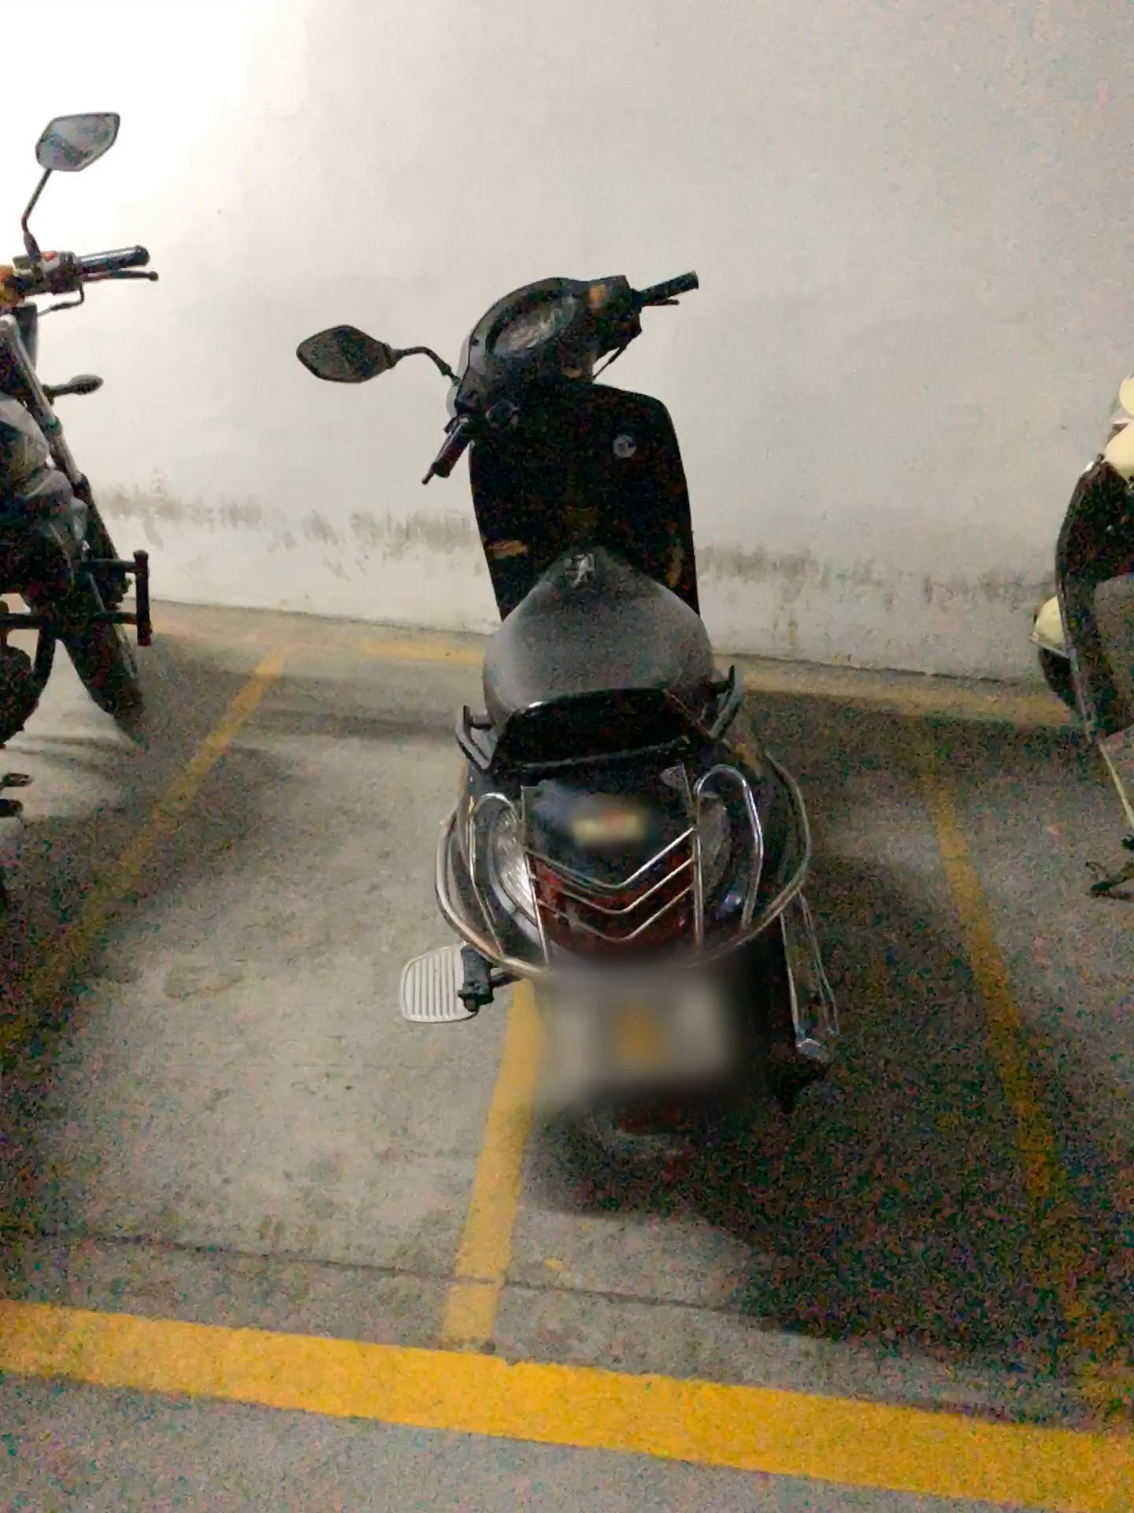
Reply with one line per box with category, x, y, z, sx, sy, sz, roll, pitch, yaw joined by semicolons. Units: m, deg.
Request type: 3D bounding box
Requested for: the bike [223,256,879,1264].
bike;-0.098;-0.143;2.128;0.652;1.239;1.540;0;31;-5
